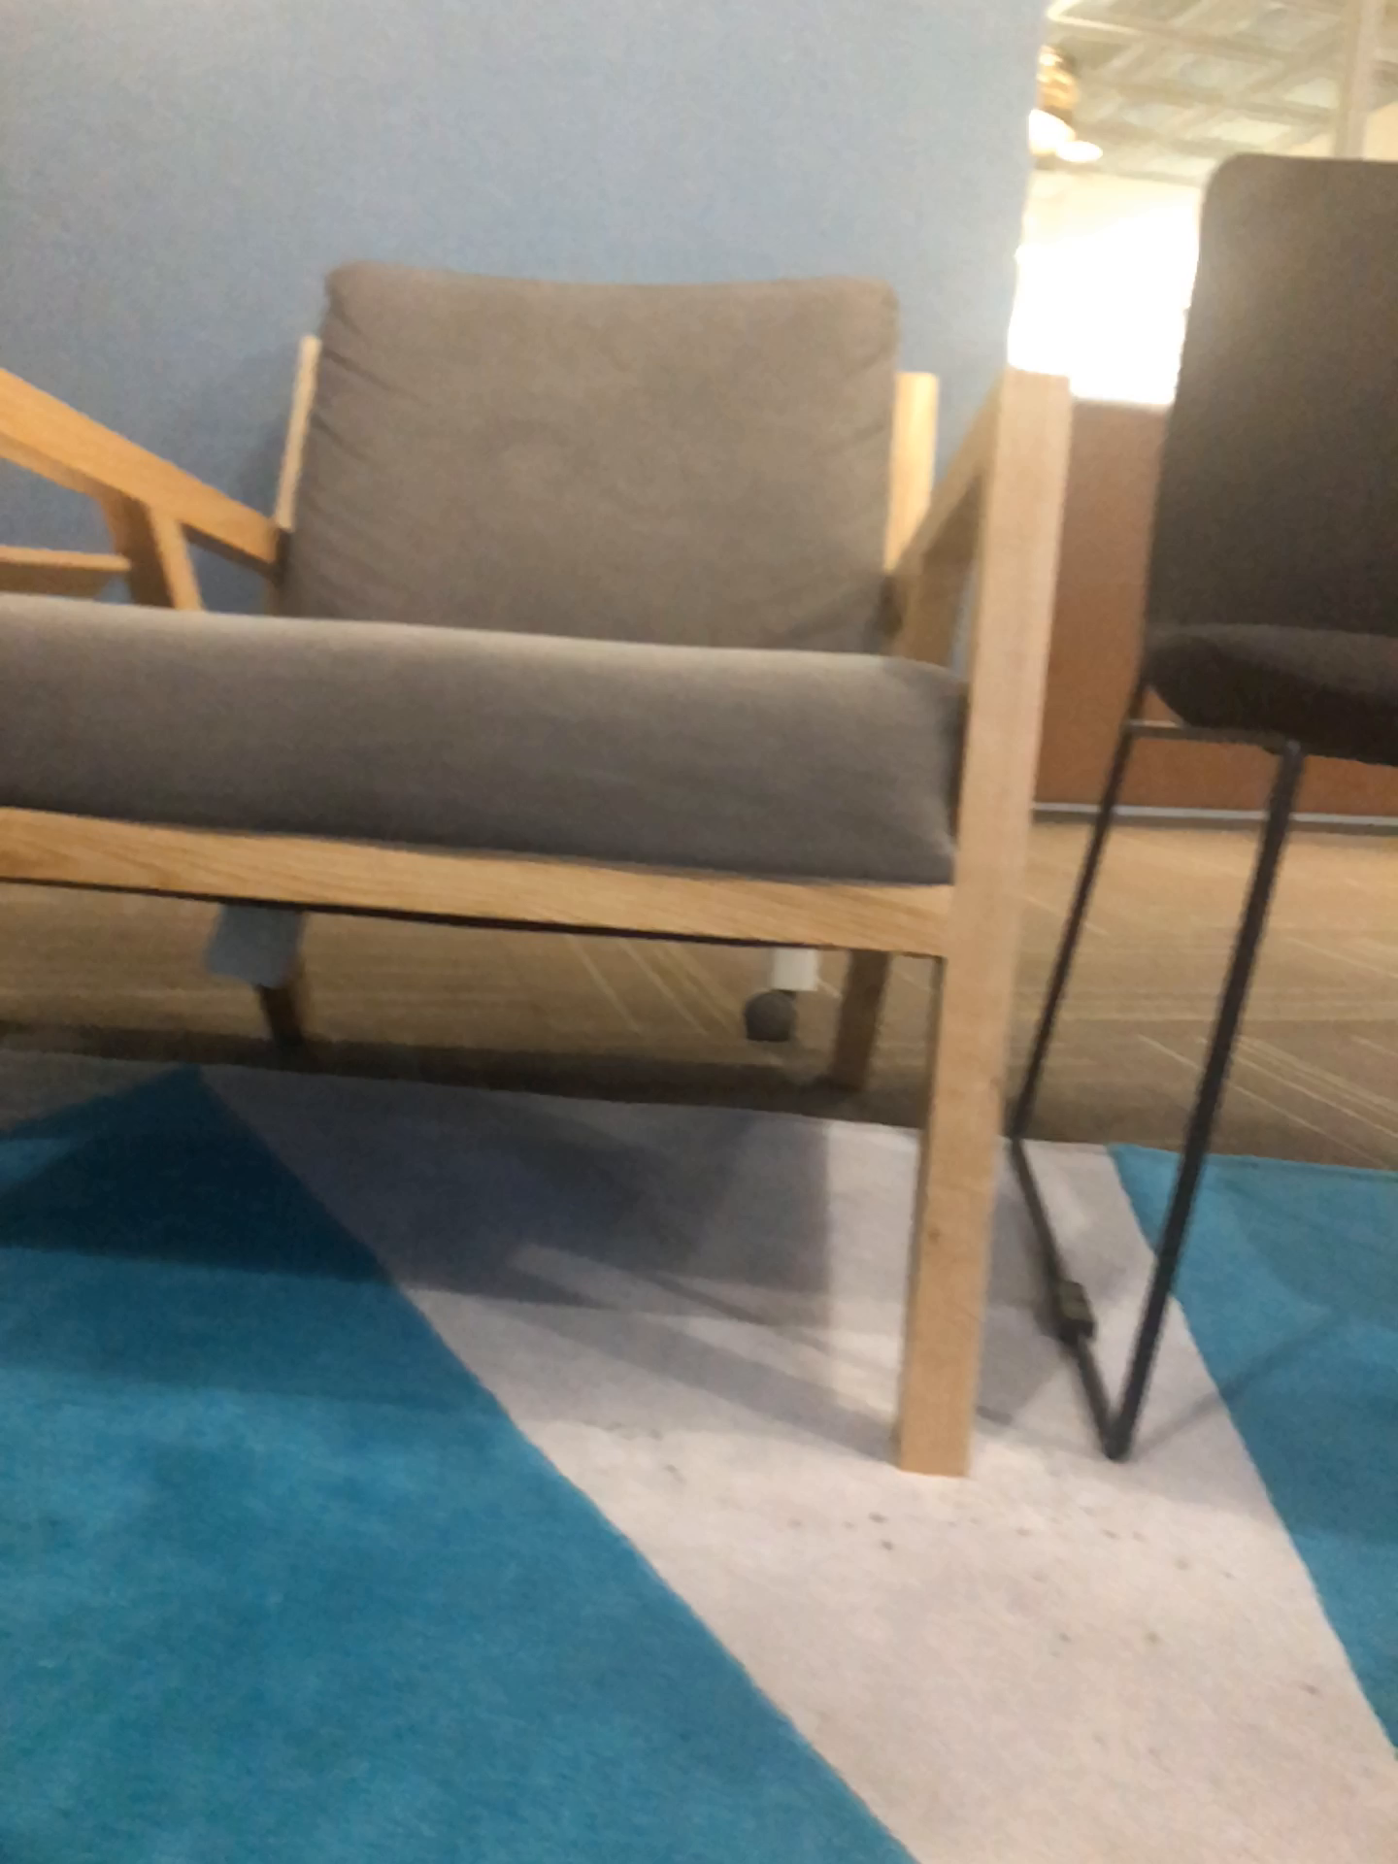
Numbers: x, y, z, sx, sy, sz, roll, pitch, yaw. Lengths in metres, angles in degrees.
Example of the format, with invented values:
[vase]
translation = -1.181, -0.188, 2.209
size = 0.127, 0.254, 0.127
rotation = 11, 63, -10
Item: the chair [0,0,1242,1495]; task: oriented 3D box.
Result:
[chair]
translation = -0.122, -0.195, 1.134
size = 0.710, 0.747, 0.844
rotation = 4, 11, 3
